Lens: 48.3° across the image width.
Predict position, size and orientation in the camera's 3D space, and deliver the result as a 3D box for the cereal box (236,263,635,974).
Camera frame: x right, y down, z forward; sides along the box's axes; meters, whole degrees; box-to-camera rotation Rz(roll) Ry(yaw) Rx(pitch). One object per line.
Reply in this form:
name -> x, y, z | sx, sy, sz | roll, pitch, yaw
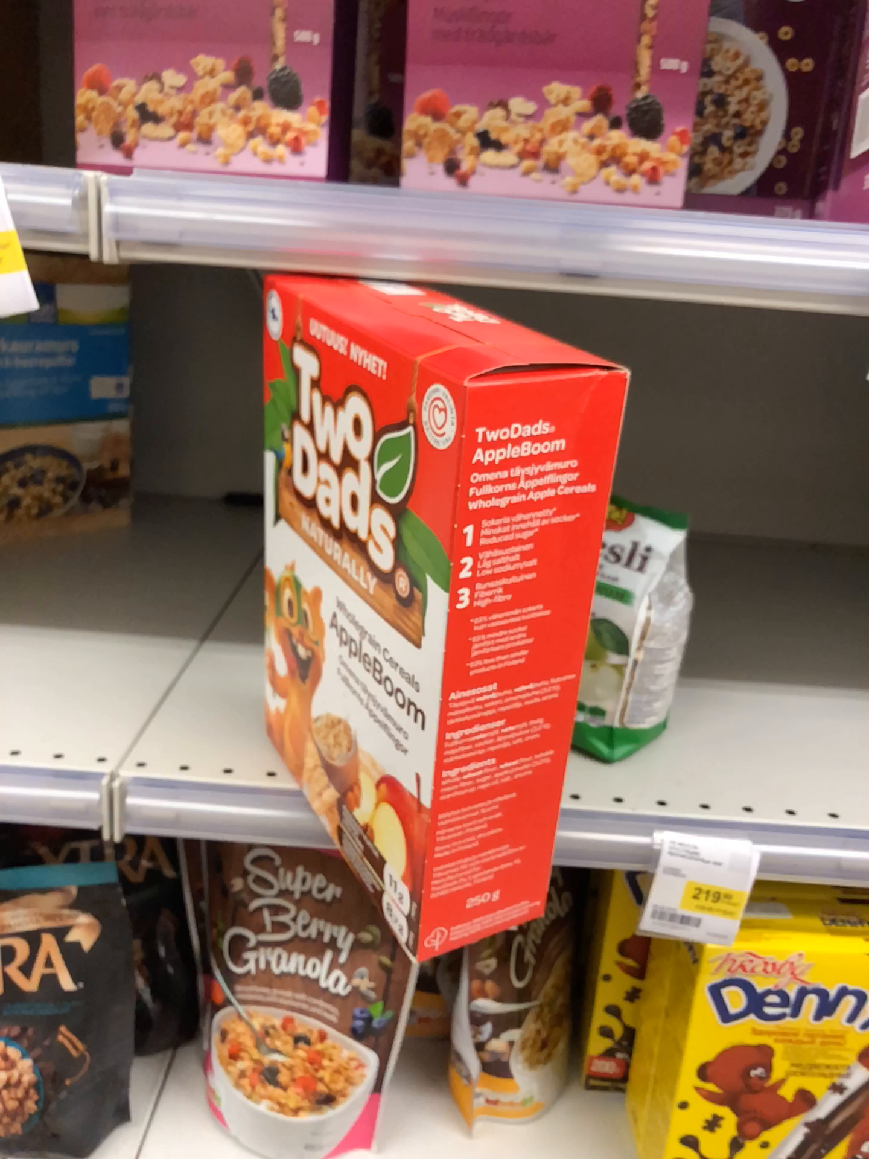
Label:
cereal box -> -0.023, 0.005, 0.465 | 0.080, 0.268, 0.201 | -10, 30, -28
